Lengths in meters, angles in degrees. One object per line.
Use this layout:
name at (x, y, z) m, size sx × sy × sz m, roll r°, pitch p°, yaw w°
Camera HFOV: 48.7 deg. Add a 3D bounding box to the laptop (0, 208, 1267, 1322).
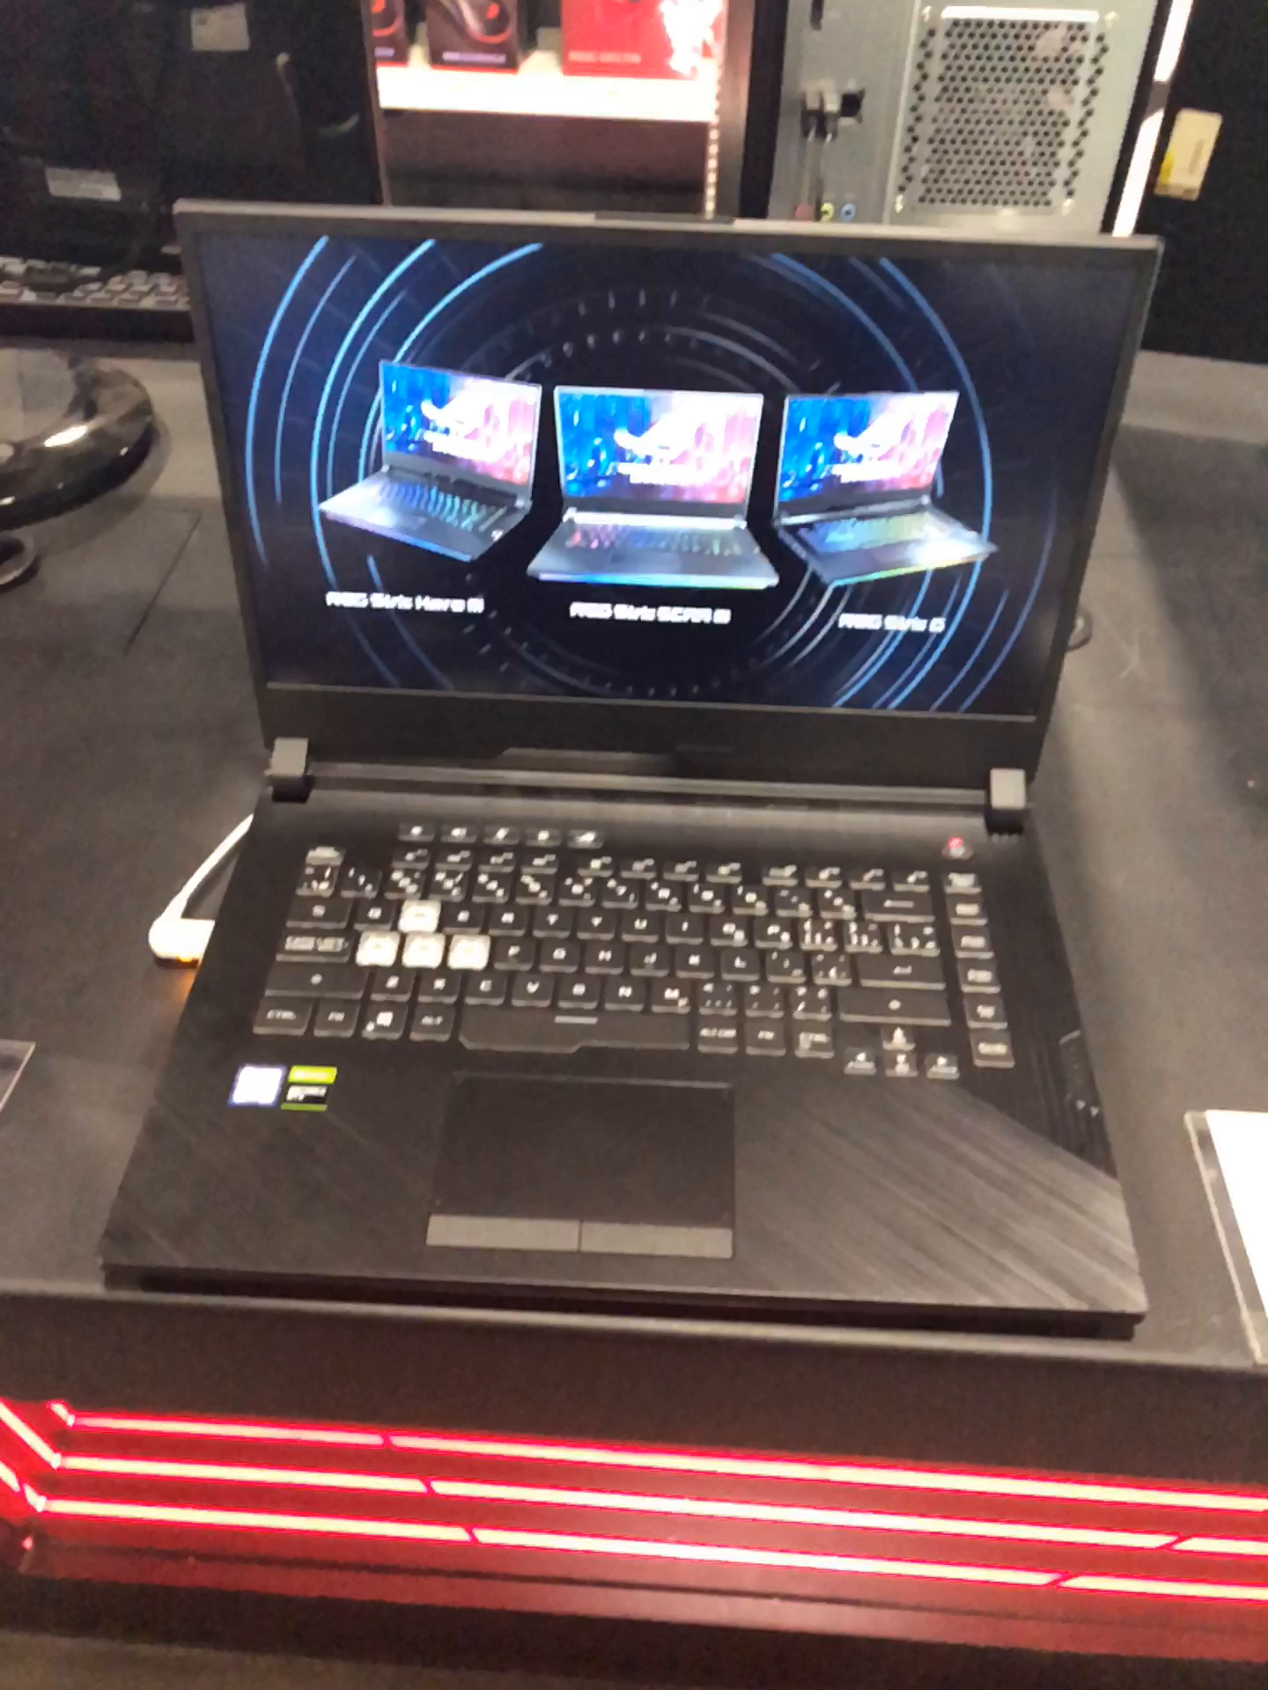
laptop at (0.002, -0.036, 0.485) m, size 0.349 × 0.243 × 0.281 m, roll 3°, pitch 44°, yaw 1°
